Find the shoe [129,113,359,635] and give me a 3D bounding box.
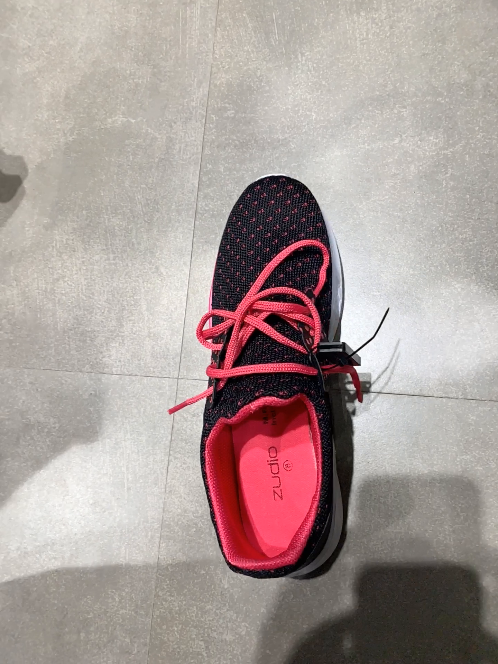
[{"bbox_3d":[0.004,0.022,0.322,0.110,0.110,0.263,-3,79,14],"label":"shoe"}]
